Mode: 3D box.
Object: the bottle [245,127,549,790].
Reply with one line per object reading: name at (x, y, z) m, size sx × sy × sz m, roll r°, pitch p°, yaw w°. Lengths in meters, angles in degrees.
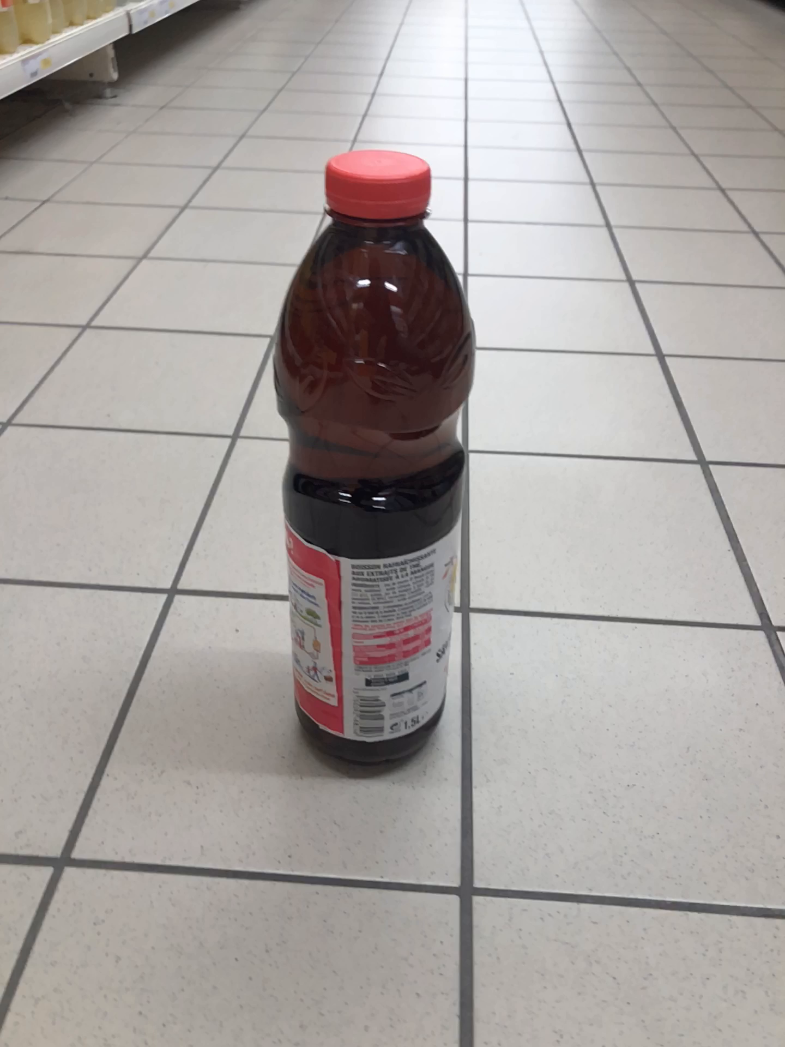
bottle at (-0.007, -0.016, 0.401) m, size 0.090 × 0.288 × 0.100 m, roll -7°, pitch 37°, yaw -12°
